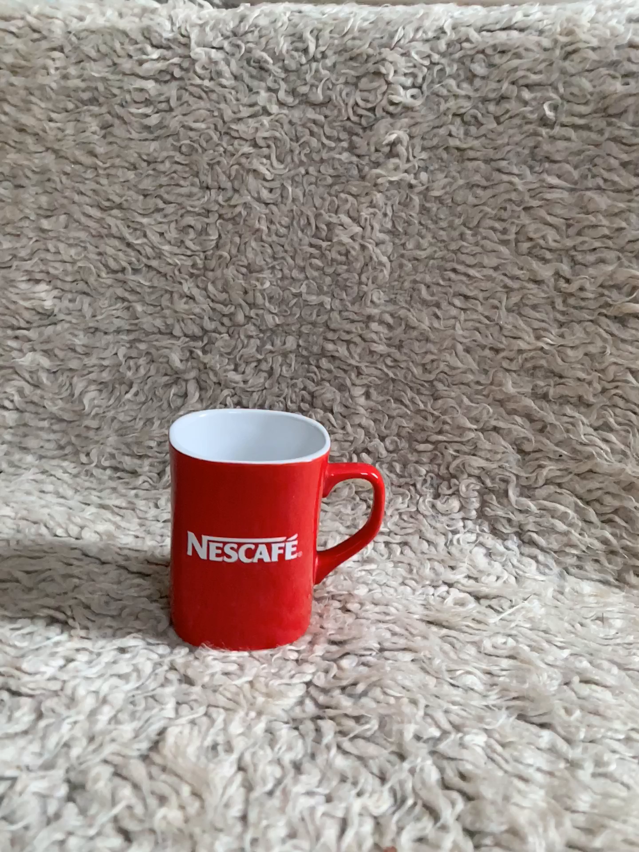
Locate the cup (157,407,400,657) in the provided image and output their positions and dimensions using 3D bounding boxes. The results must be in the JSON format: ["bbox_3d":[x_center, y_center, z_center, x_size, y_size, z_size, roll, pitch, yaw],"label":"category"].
[{"bbox_3d":[-0.030,0.056,0.383,0.121,0.110,0.088,1,18,-11],"label":"cup"}]
